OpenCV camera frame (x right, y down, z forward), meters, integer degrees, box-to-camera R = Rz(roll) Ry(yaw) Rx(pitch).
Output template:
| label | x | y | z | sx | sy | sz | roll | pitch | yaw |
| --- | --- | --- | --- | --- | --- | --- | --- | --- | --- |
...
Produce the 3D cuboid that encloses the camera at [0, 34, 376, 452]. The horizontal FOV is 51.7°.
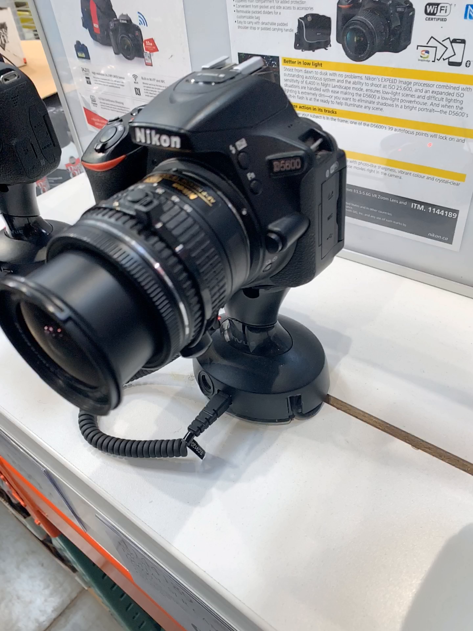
| label | x | y | z | sx | sy | sz | roll | pitch | yaw |
| --- | --- | --- | --- | --- | --- | --- | --- | --- | --- |
| camera | -0.027 | -0.047 | 0.201 | 0.111 | 0.090 | 0.140 | 20 | 48 | 29 |
